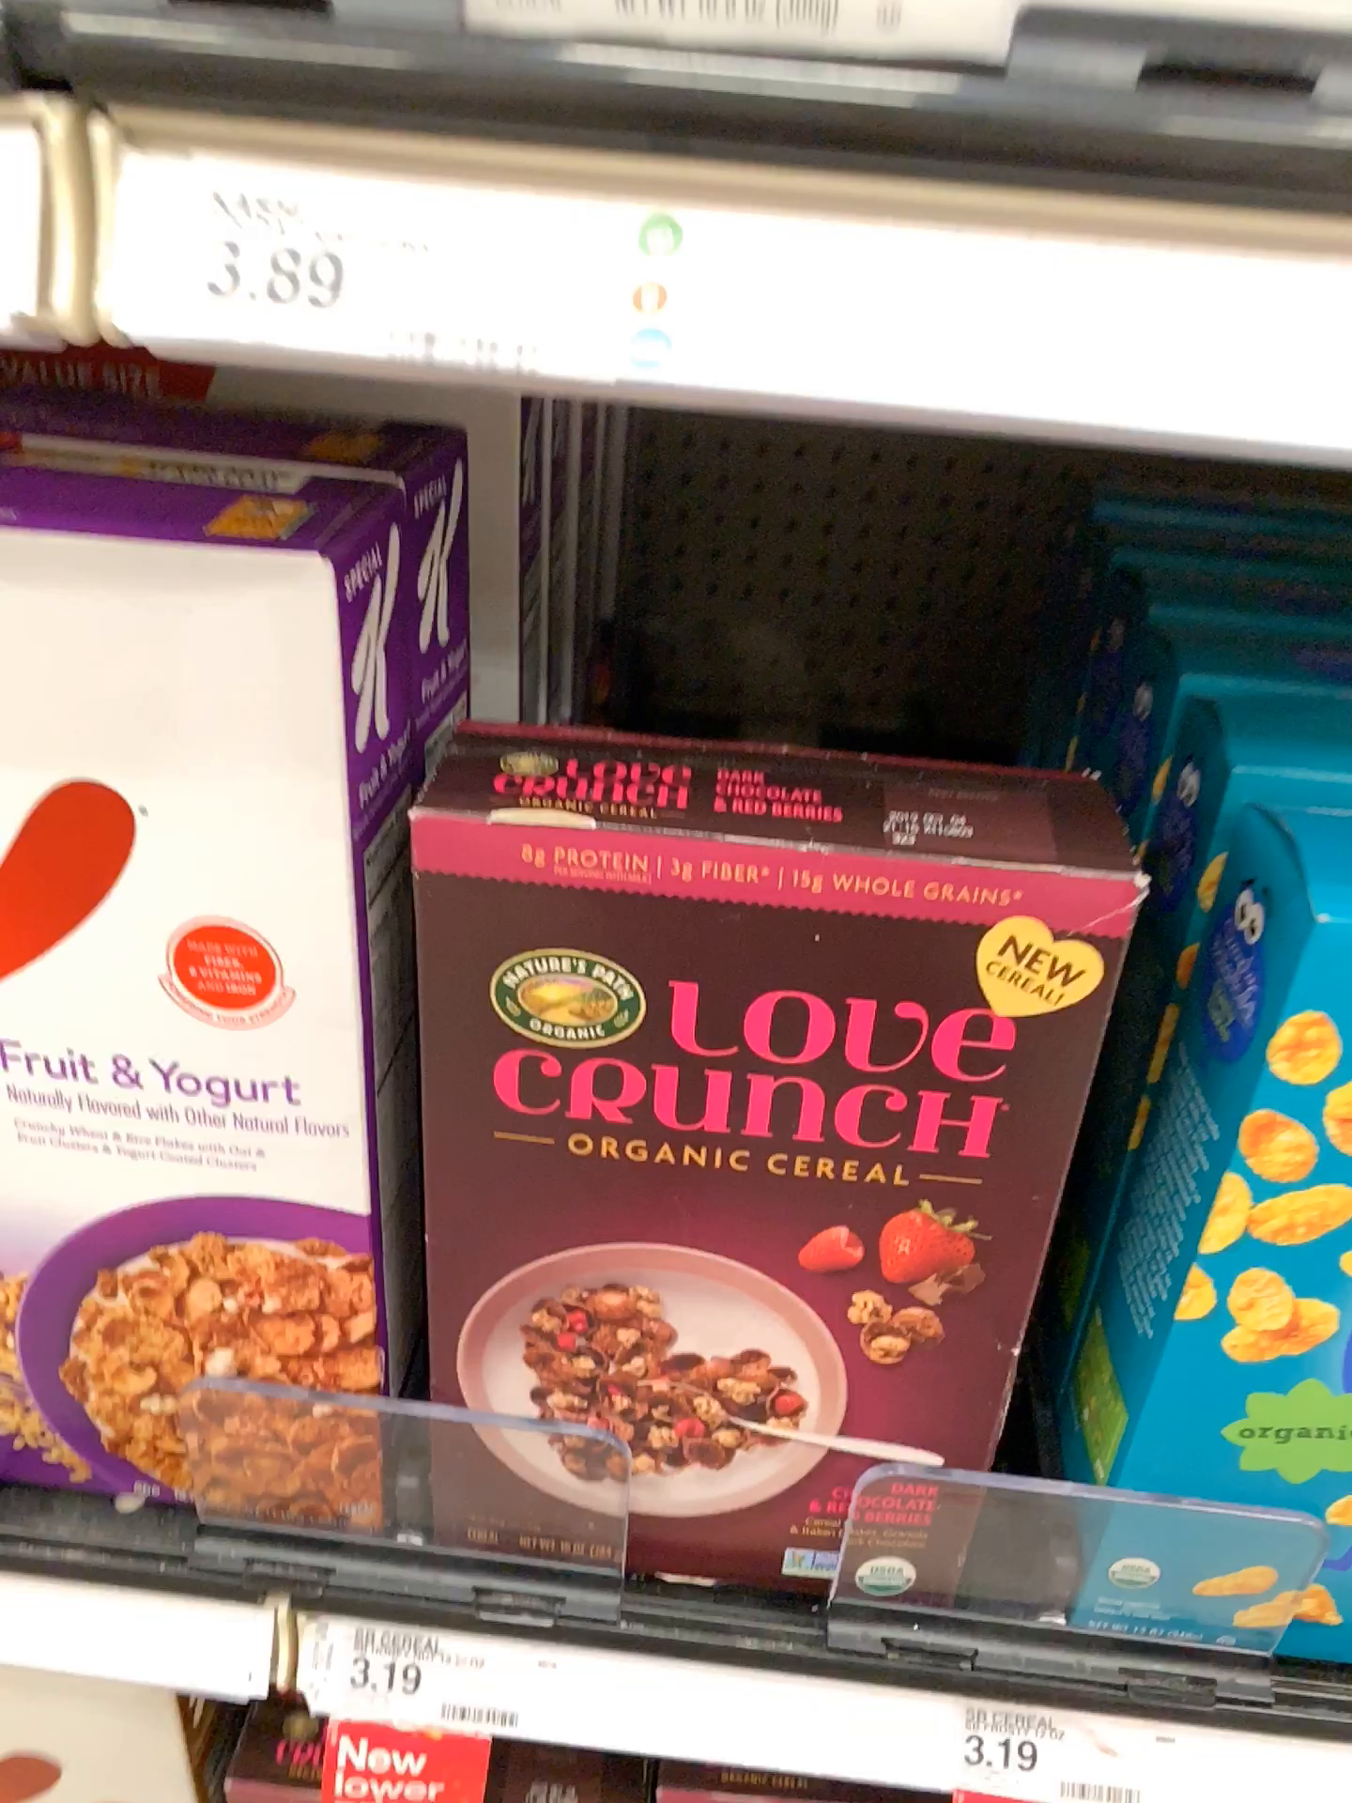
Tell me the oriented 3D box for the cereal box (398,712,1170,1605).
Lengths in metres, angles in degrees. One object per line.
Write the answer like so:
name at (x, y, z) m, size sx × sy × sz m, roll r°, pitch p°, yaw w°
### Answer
cereal box at (0.015, 0.082, 0.375) m, size 0.160 × 0.249 × 0.050 m, roll 5°, pitch 31°, yaw 2°
